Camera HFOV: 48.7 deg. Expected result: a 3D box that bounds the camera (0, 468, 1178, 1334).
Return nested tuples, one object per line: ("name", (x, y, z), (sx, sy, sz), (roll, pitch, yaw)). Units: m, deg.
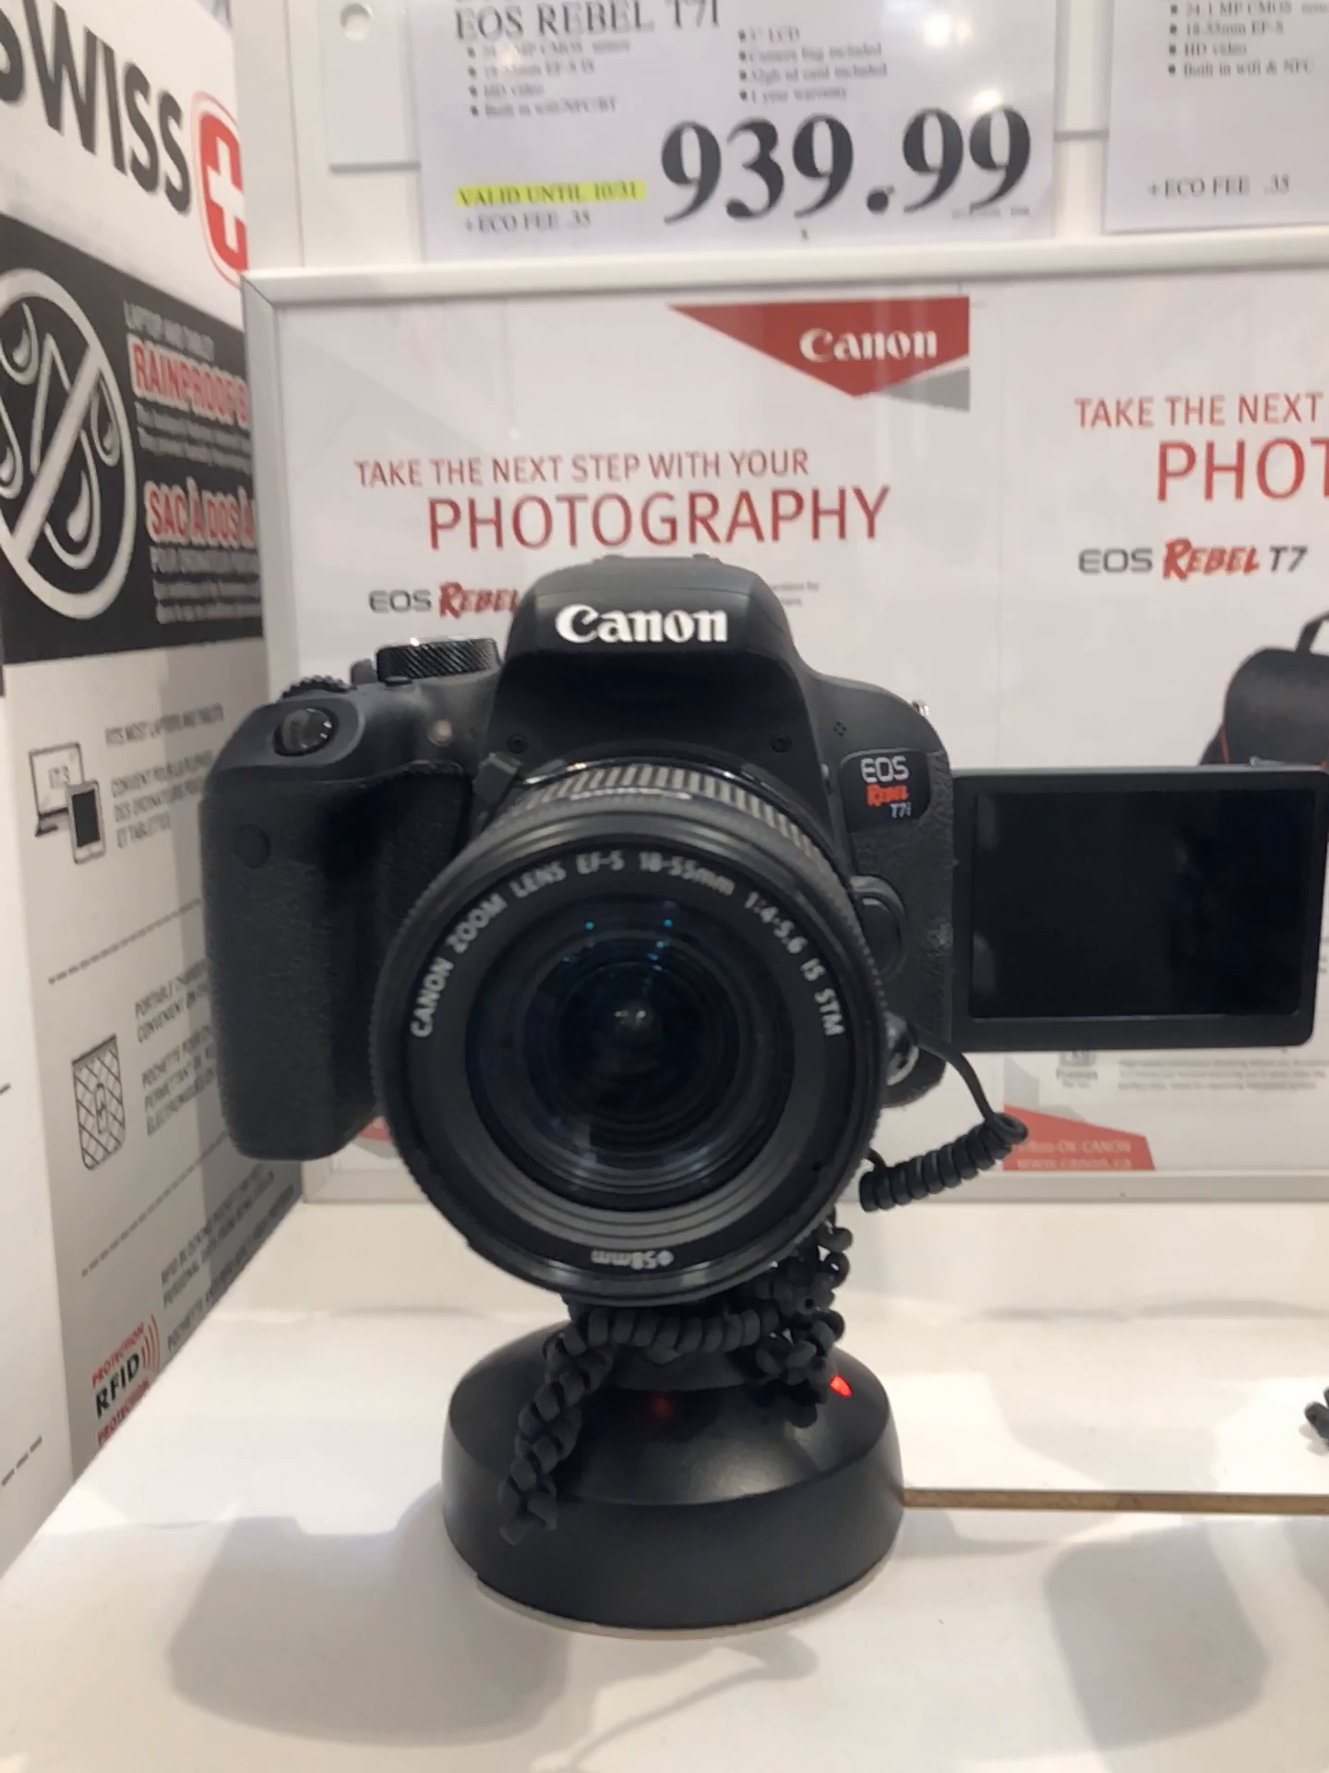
("camera", (-0.011, -0.009, 0.243), (0.140, 0.100, 0.150), (-1, 11, 2))
